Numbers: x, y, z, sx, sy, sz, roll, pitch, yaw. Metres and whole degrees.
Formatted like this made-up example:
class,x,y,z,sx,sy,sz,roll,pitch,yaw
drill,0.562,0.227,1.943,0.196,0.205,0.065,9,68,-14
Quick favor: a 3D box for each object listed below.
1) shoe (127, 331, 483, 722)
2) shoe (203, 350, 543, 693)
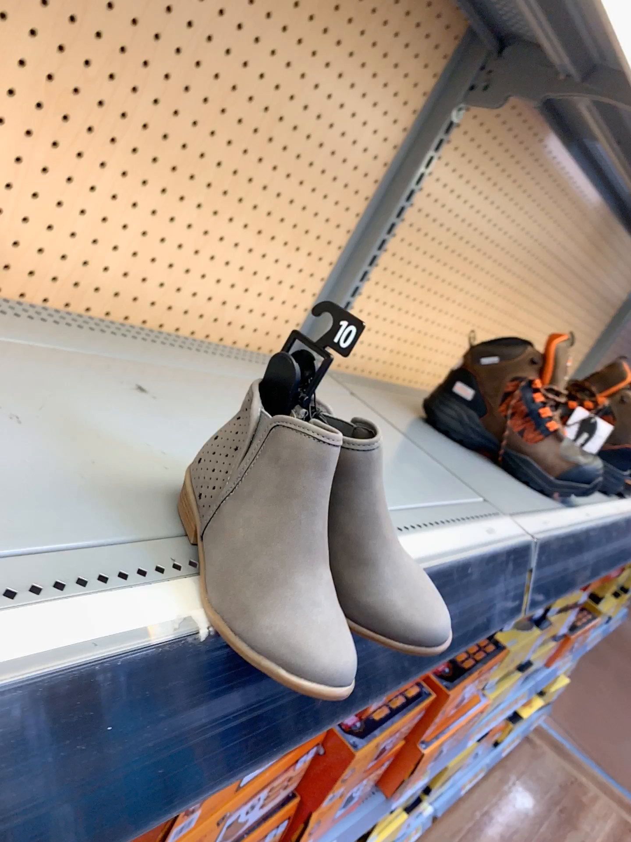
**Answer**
class,x,y,z,sx,sy,sz,roll,pitch,yaw
shoe,-0.021,0.048,0.380,0.087,0.103,0.197,10,27,-41
shoe,0.027,0.055,0.427,0.186,0.113,0.074,38,34,26
